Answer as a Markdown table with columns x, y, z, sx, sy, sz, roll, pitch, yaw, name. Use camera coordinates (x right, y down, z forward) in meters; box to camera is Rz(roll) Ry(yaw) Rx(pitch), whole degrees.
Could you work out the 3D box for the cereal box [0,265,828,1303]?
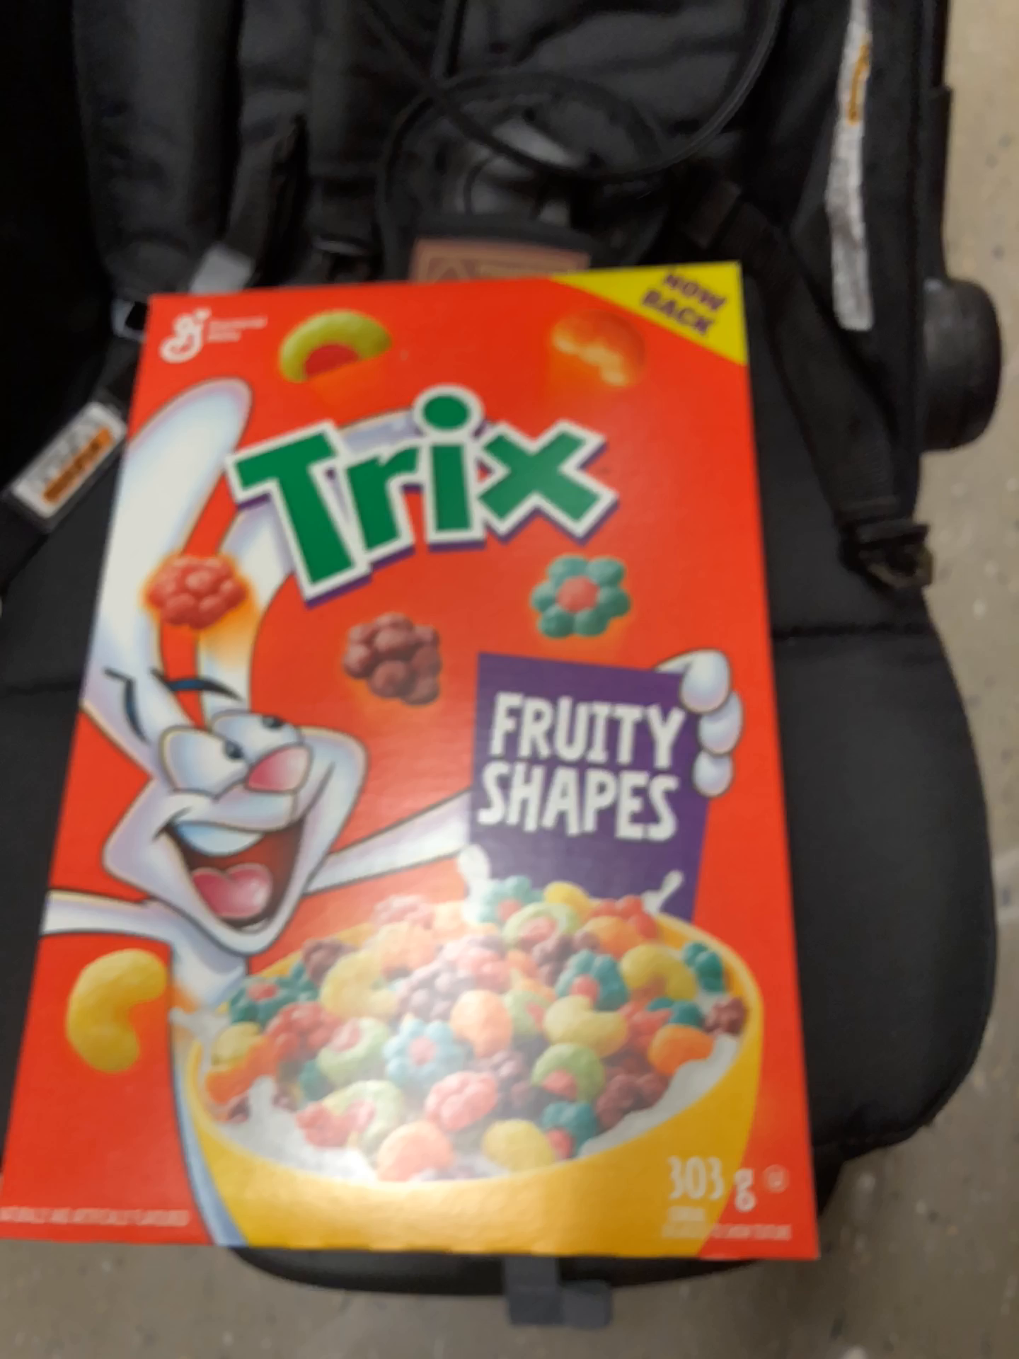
| x | y | z | sx | sy | sz | roll | pitch | yaw | name |
| --- | --- | --- | --- | --- | --- | --- | --- | --- | --- |
| -0.028 | 0.017 | 0.336 | 0.200 | 0.060 | 0.280 | -1 | 68 | 5 | cereal box |
